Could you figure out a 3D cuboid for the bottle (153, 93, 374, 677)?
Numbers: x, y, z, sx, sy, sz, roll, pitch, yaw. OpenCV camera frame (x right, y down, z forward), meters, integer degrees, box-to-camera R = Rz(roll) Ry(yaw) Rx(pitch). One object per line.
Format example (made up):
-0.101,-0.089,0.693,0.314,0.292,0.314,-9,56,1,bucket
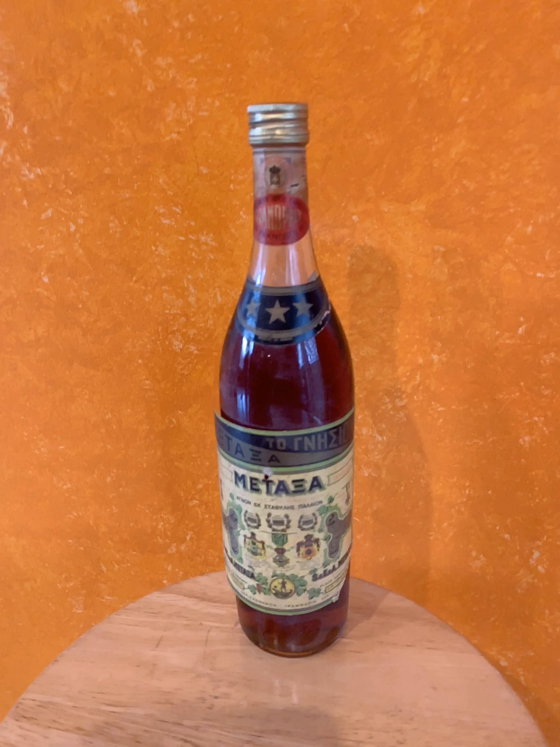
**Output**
0.001,0.018,0.308,0.080,0.298,0.070,4,24,13,bottle
